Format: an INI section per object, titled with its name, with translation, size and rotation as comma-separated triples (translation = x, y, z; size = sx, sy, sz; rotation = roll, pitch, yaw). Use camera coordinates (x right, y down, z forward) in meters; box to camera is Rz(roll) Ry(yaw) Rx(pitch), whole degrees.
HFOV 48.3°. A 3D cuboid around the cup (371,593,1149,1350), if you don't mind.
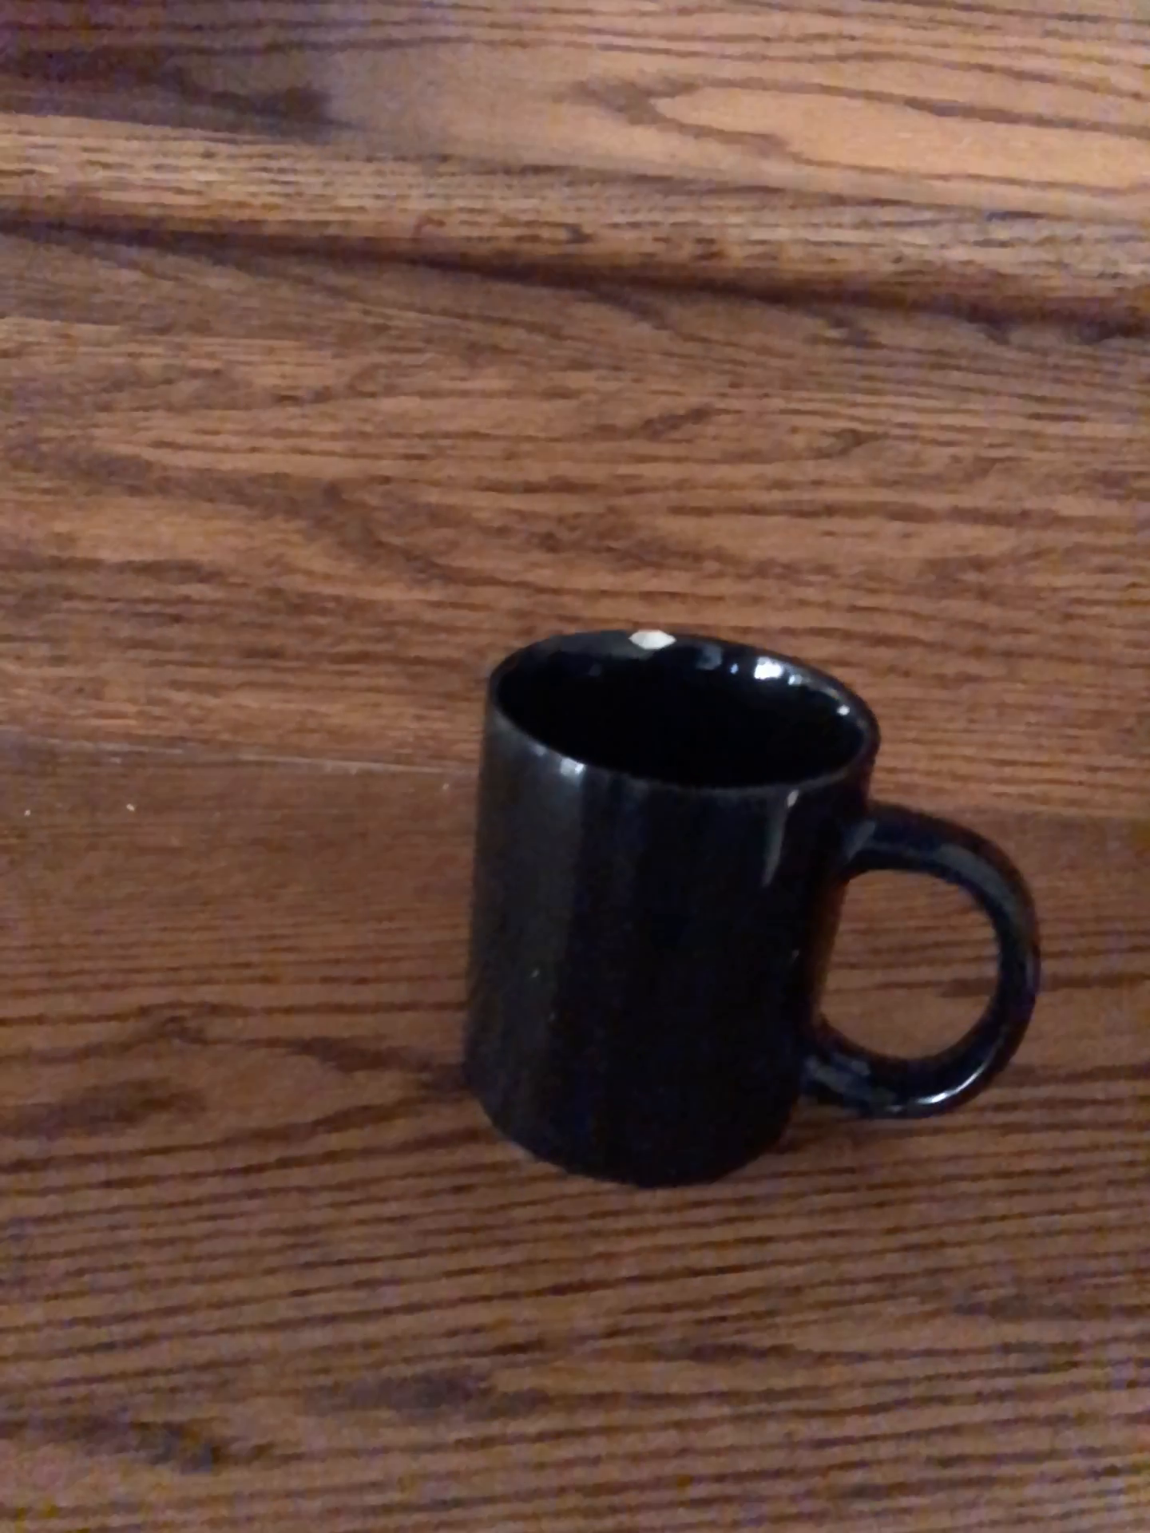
[cup]
translation = 0.039, 0.034, 0.274
size = 0.136, 0.095, 0.092
rotation = 13, 28, 12
